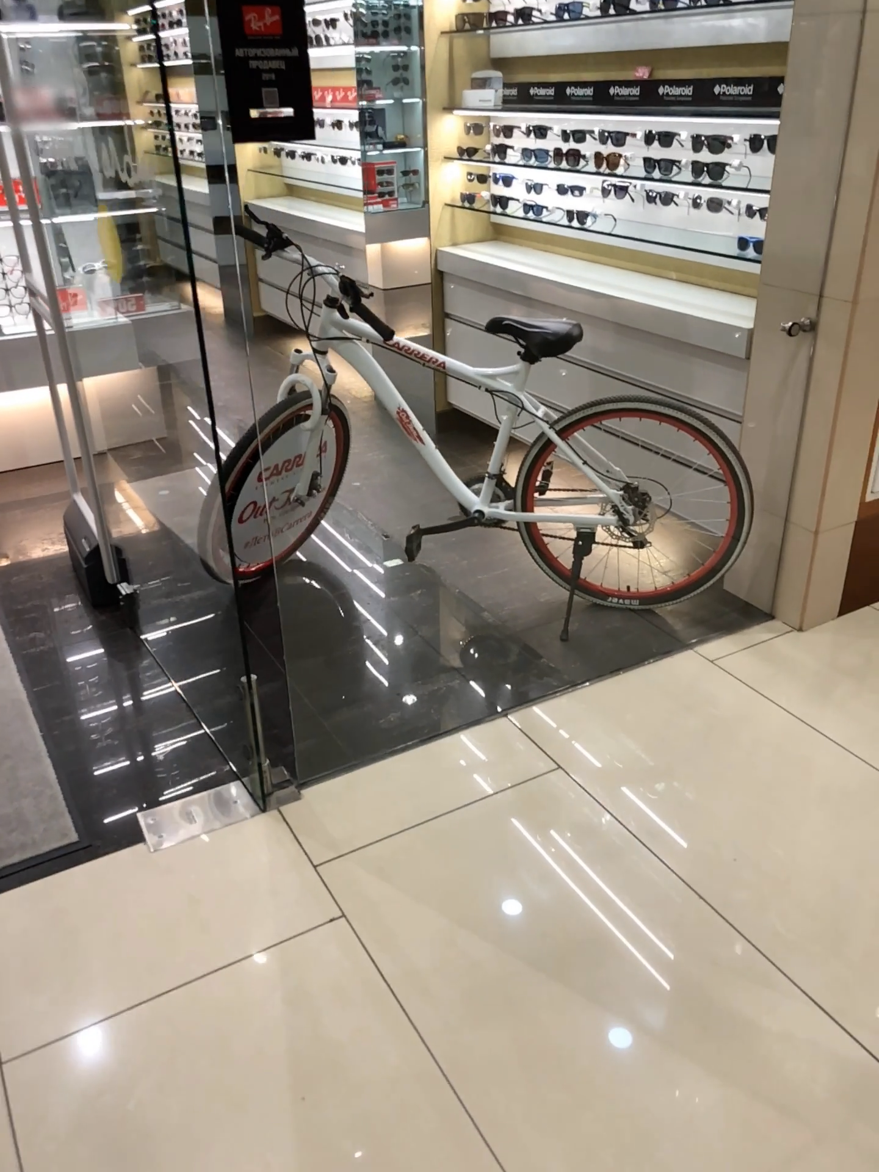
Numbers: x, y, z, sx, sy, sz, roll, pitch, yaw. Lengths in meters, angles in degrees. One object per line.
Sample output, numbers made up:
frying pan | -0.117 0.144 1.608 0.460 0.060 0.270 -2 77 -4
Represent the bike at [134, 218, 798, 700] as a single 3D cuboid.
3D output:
bike | 0.076 -0.325 2.455 1.381 0.947 0.595 -3 26 5
